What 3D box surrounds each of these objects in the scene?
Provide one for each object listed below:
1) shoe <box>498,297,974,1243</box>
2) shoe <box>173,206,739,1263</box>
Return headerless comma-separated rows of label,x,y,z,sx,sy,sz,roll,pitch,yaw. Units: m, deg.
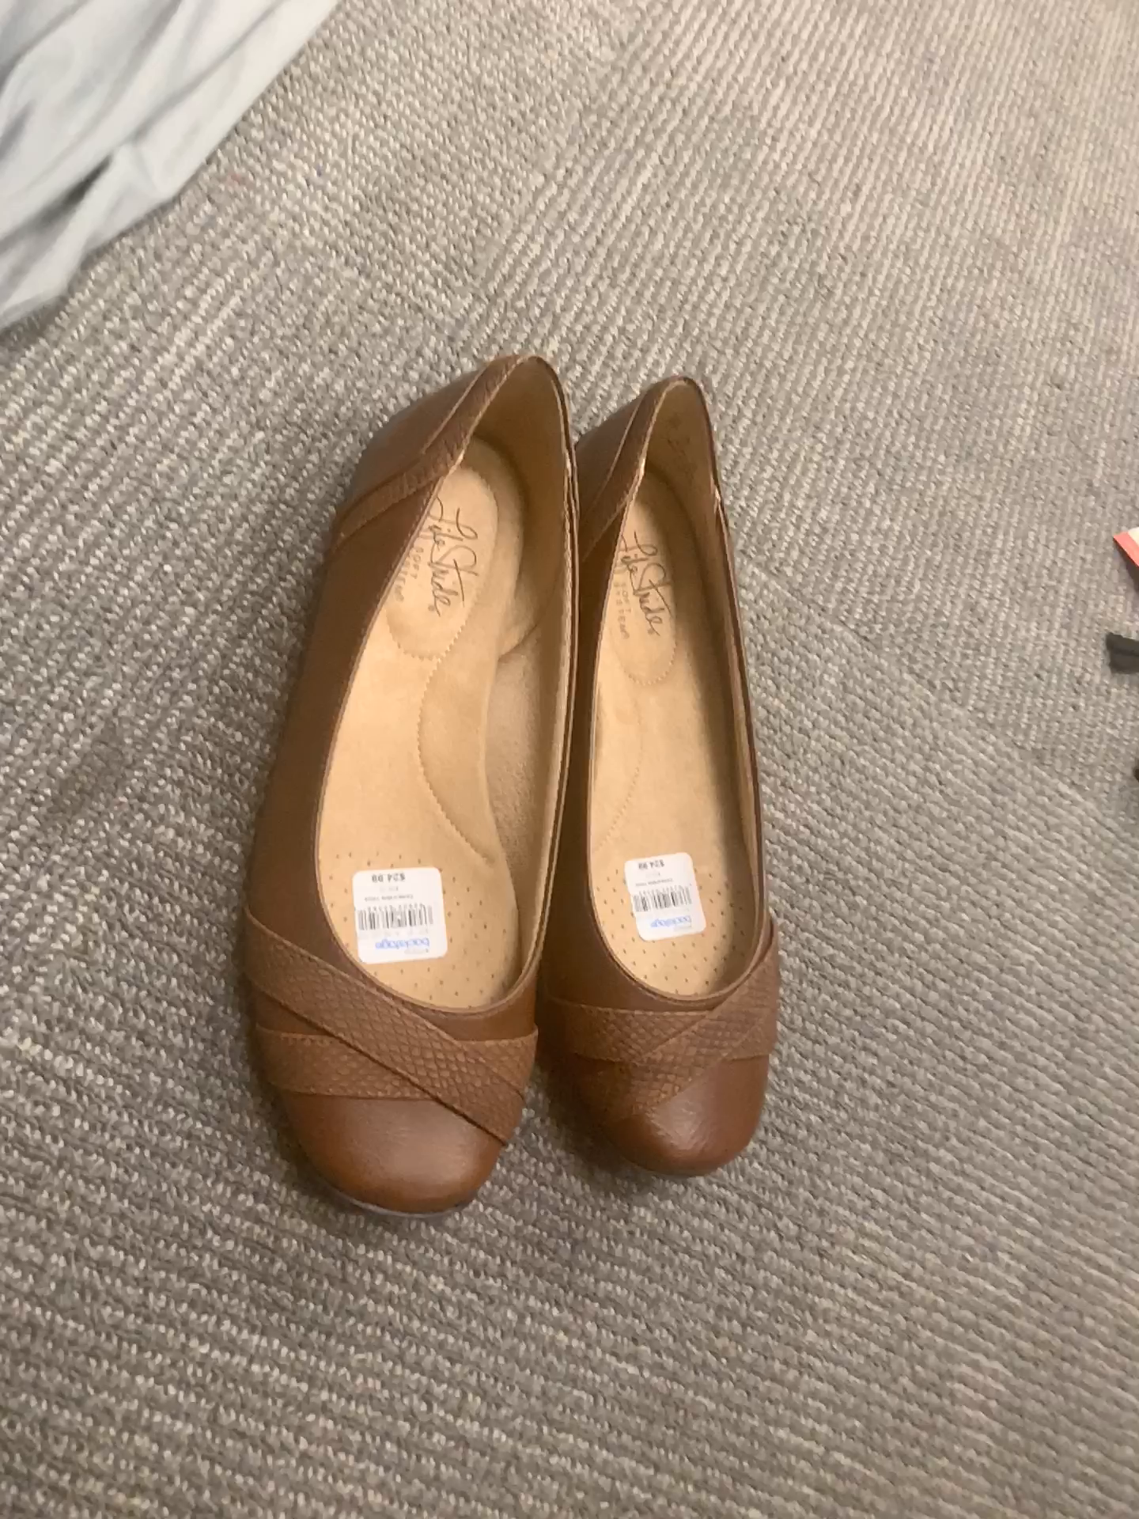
shoe,0.046,0.002,0.383,0.099,0.084,0.271,3,75,-28
shoe,-0.026,-0.008,0.341,0.099,0.084,0.270,17,69,-24
